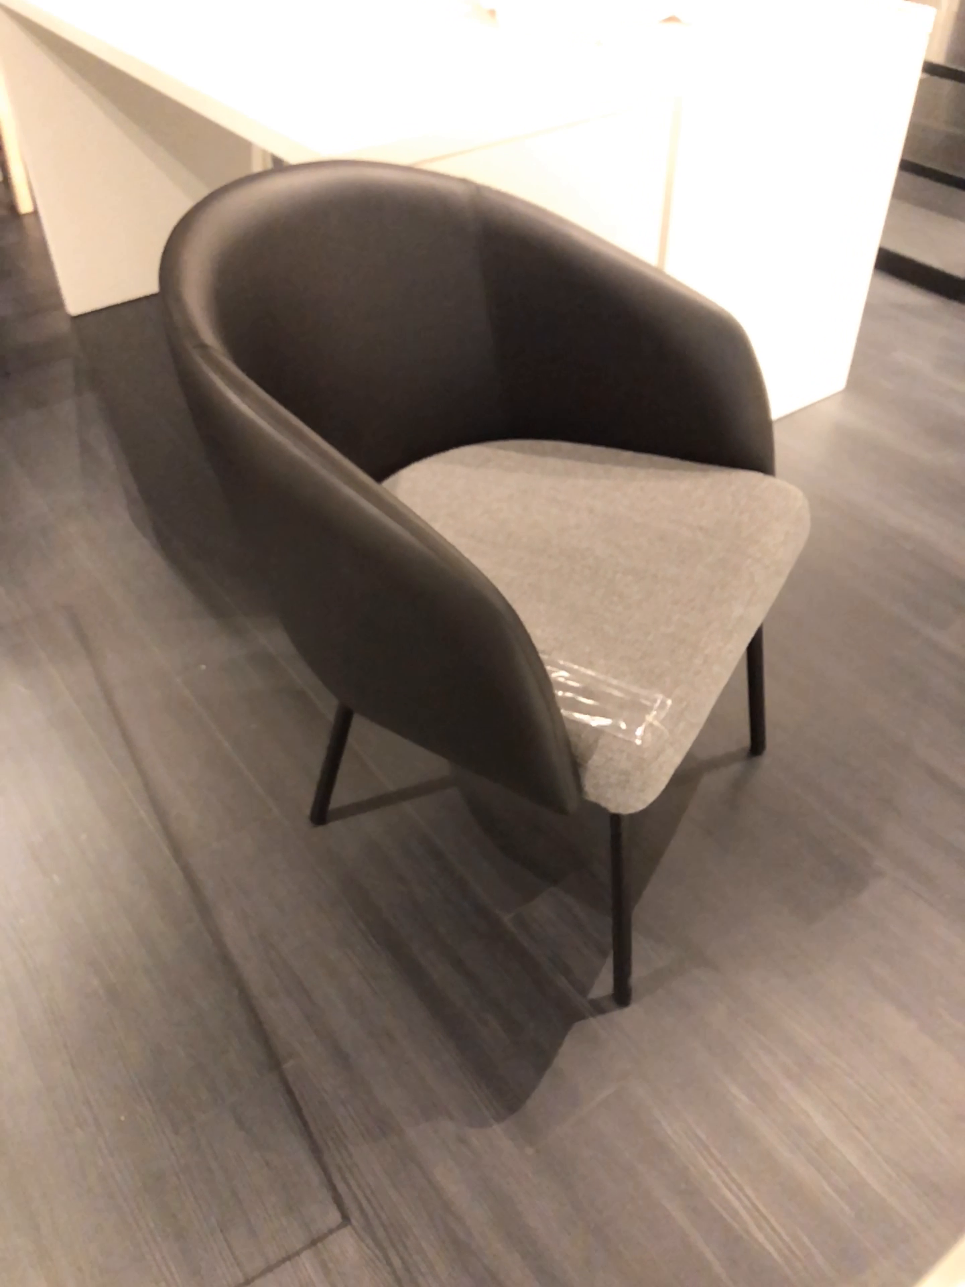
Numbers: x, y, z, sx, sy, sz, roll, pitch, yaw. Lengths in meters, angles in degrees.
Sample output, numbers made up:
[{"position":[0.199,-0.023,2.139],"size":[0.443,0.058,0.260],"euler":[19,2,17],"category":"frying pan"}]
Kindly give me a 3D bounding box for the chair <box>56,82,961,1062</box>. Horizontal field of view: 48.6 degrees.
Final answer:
[{"position":[0.061,-0.107,1.219],"size":[0.591,0.764,0.614],"euler":[22,47,23],"category":"chair"}]
